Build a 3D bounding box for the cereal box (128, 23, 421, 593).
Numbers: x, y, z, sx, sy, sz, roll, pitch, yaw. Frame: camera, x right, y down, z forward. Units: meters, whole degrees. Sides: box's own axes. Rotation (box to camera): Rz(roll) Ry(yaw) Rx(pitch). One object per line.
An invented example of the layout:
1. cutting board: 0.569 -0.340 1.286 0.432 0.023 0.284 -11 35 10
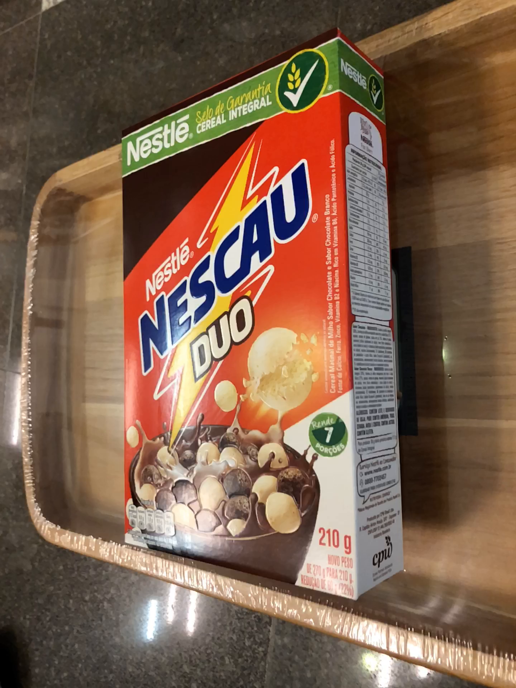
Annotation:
1. cereal box: -0.001 -0.014 0.319 0.161 0.050 0.250 -5 85 39
